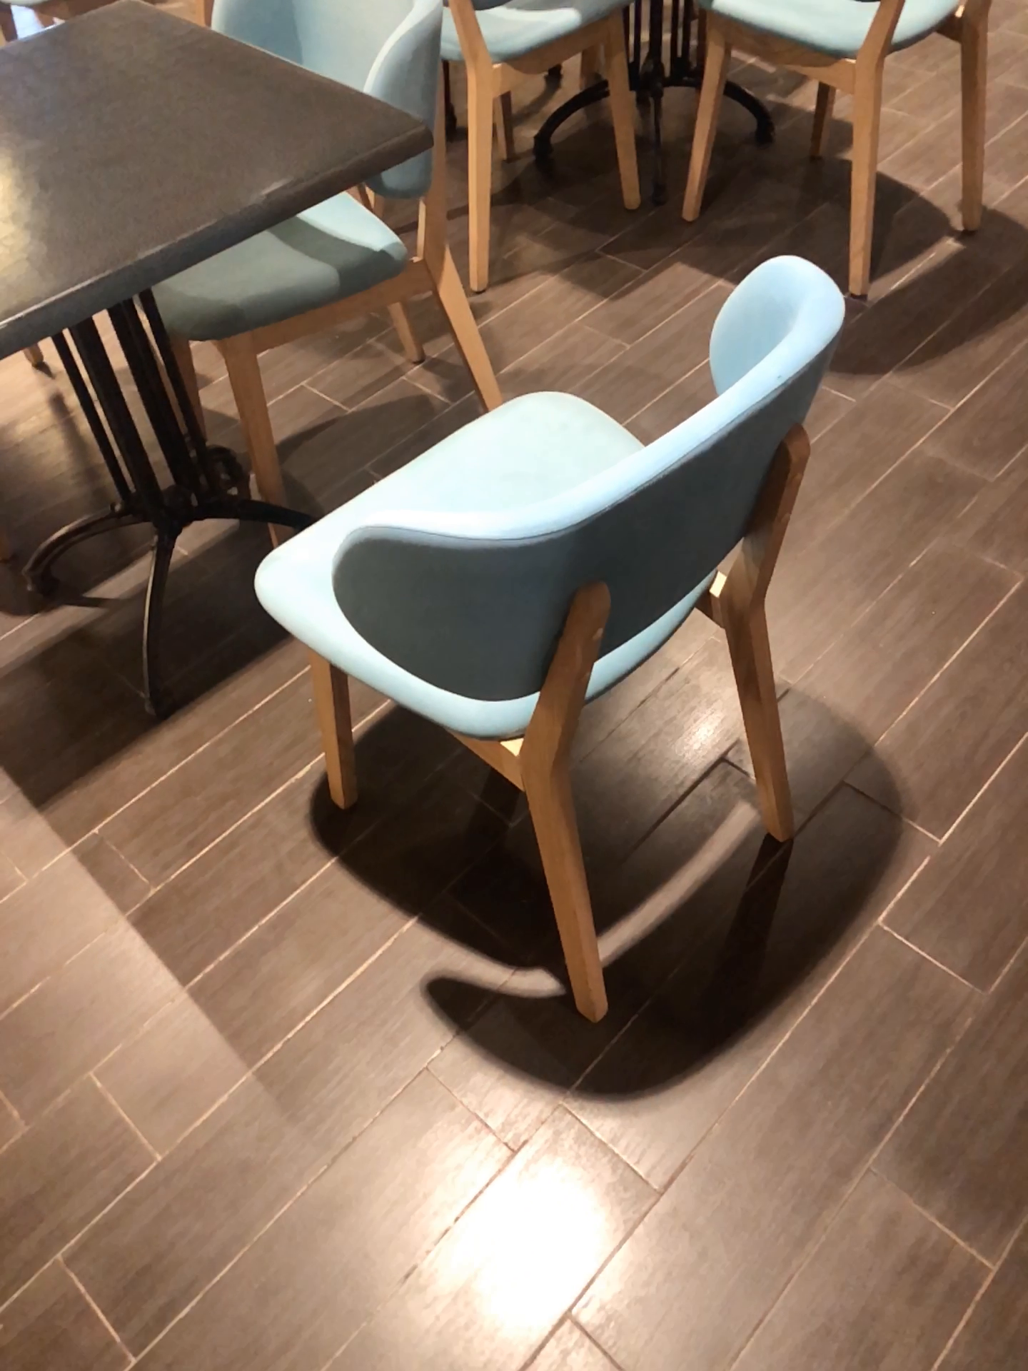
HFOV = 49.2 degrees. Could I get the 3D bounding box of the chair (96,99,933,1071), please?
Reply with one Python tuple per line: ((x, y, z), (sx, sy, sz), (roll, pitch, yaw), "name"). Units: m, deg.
((0.017, -0.076, 1.247), (0.481, 0.817, 0.511), (-37, 56, -24), "chair")
